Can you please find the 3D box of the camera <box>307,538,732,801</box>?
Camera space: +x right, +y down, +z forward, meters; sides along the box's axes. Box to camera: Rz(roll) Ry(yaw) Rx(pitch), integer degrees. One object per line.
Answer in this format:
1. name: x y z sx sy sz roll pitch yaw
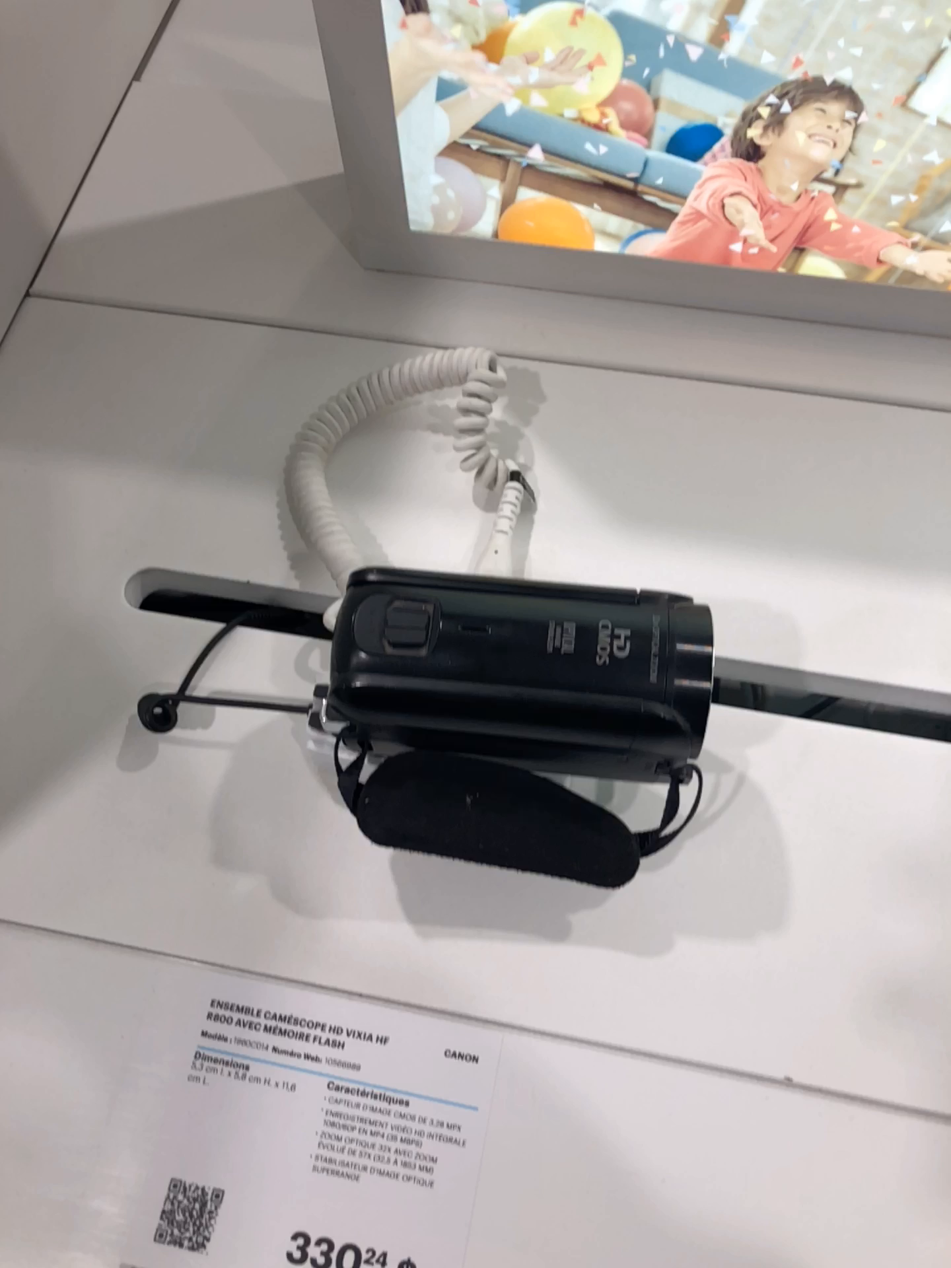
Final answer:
1. camera: 0.014 0.011 0.315 0.113 0.050 0.050 6 64 6
